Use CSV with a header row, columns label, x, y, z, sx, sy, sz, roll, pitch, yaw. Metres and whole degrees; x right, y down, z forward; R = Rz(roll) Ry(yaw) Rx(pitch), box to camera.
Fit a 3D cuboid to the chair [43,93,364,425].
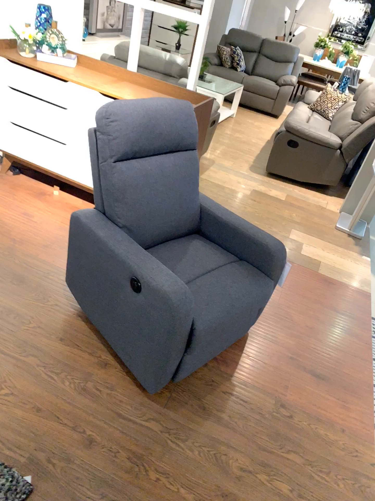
label,x,y,z,sx,sy,sz,roll,pitch,yaw
chair,0.000,-0.073,1.754,0.932,0.966,0.882,-22,48,-41
